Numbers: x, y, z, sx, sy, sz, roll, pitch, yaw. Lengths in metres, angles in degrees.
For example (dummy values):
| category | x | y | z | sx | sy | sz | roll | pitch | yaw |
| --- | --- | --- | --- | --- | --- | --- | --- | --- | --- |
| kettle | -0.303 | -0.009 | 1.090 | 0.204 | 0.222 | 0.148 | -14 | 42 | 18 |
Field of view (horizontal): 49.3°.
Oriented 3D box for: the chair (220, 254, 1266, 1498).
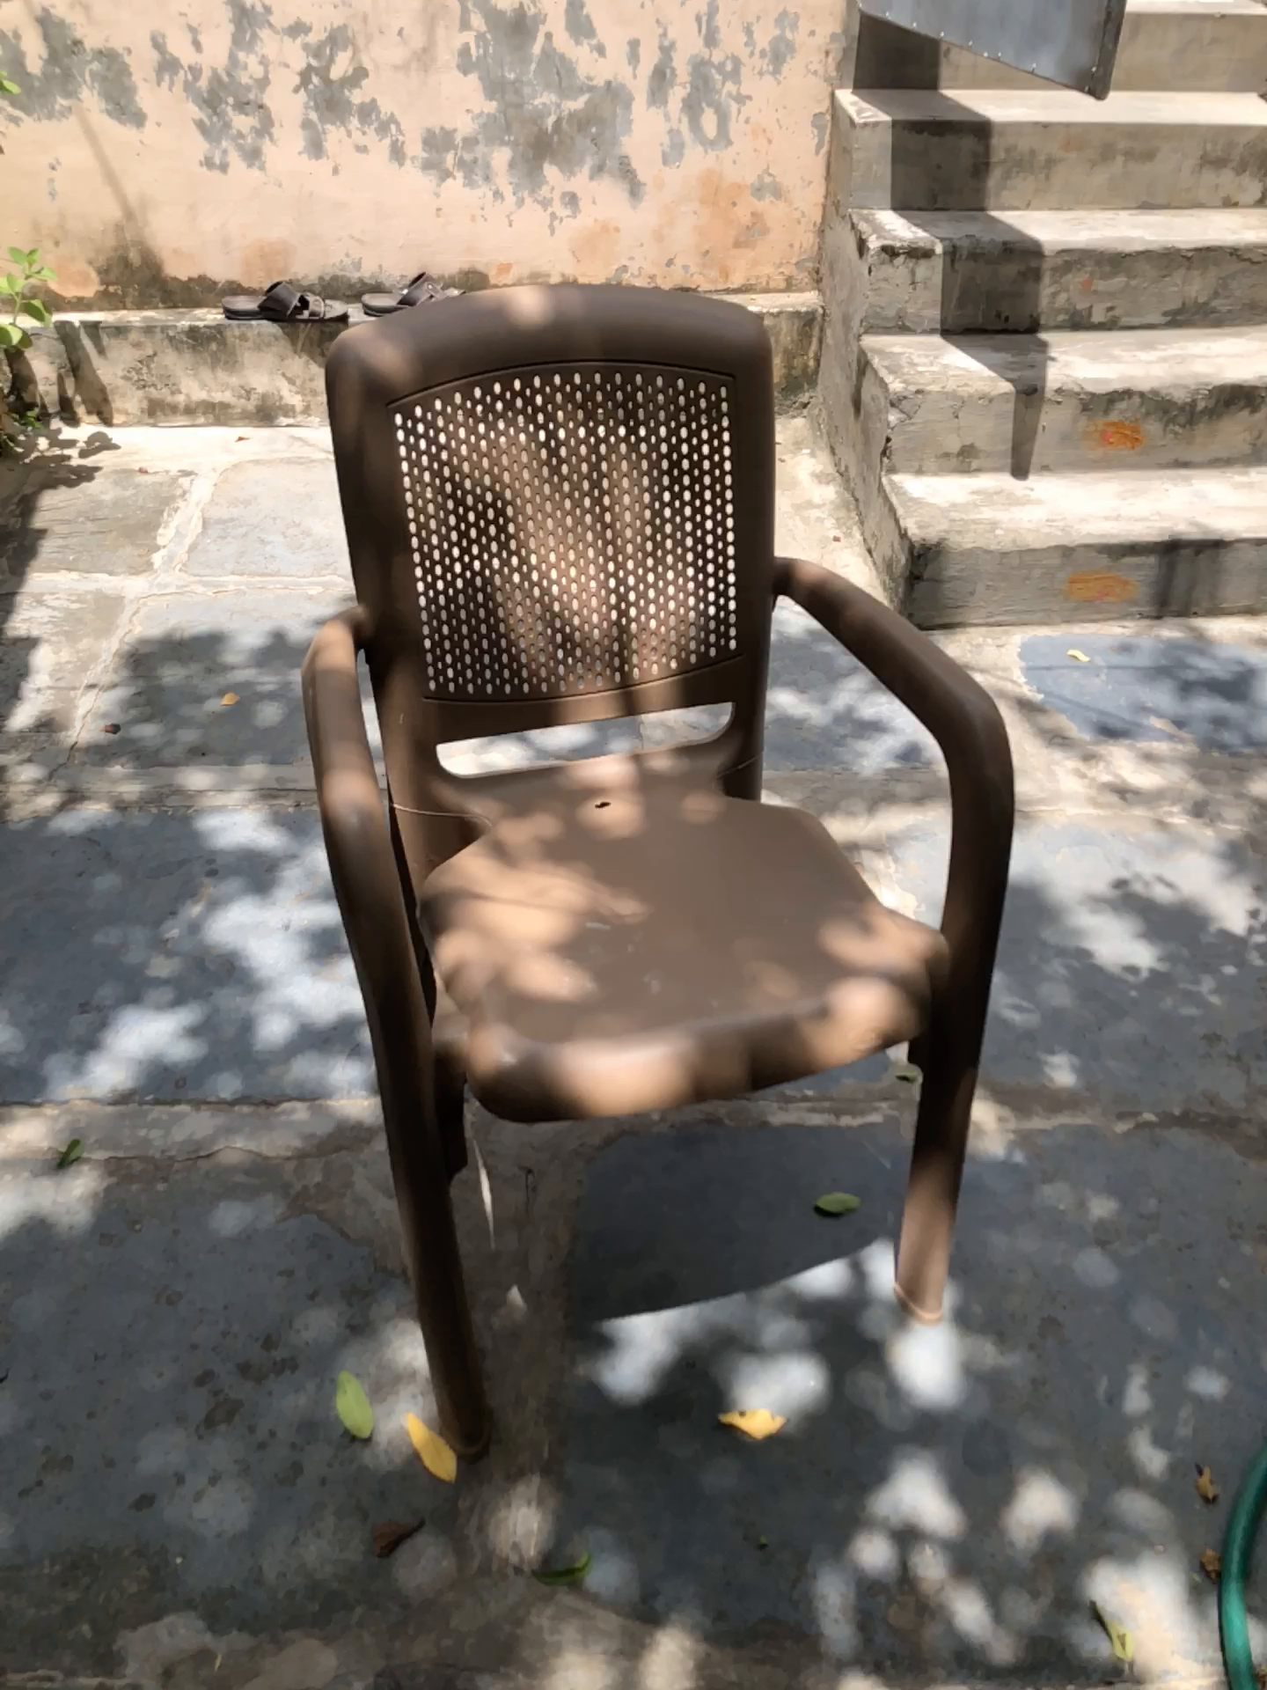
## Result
| category | x | y | z | sx | sy | sz | roll | pitch | yaw |
| --- | --- | --- | --- | --- | --- | --- | --- | --- | --- |
| chair | 0.021 | -0.005 | 1.288 | 0.631 | 0.825 | 0.683 | -9 | 39 | -13 |
